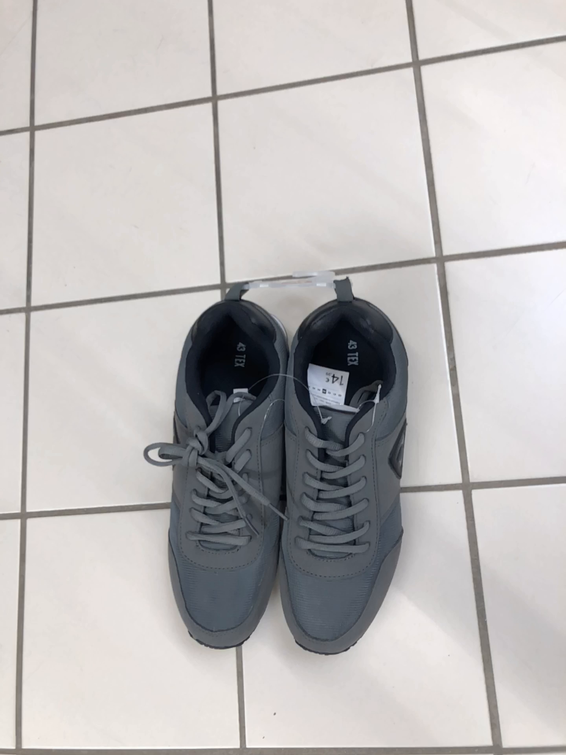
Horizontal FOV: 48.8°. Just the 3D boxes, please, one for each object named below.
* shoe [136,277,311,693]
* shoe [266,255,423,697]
[{"bbox_3d":[-0.038,0.076,0.498,0.100,0.100,0.290,0,79,10],"label":"shoe"},{"bbox_3d":[0.052,0.065,0.471,0.100,0.100,0.290,0,79,10],"label":"shoe"}]
